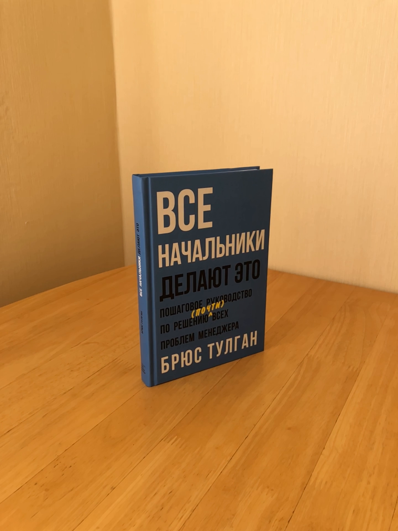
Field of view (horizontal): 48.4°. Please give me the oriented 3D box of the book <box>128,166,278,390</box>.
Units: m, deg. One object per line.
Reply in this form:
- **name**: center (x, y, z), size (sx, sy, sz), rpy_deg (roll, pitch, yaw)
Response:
- **book**: center (0.008, 0.009, 0.451), size (0.150, 0.208, 0.025), rpy_deg (-10, 20, -28)
